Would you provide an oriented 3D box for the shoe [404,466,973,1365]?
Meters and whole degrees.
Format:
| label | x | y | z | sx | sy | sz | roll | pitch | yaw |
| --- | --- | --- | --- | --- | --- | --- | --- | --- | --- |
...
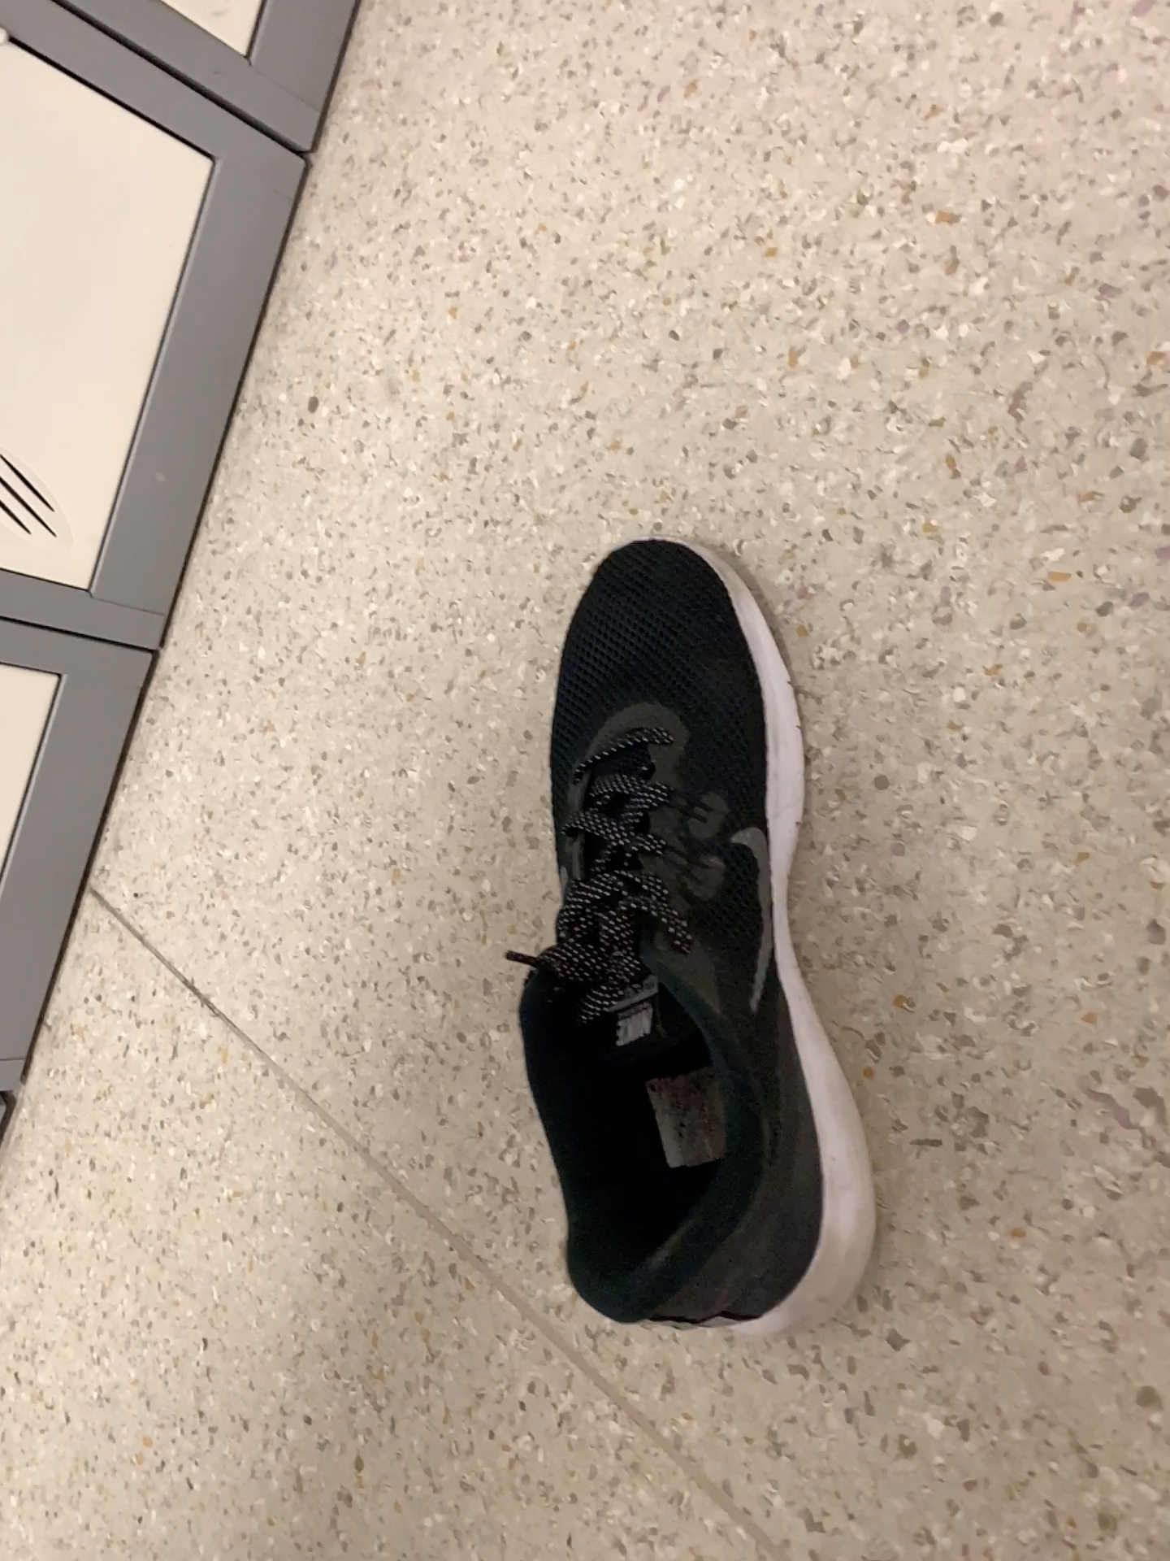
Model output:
| label | x | y | z | sx | sy | sz | roll | pitch | yaw |
| --- | --- | --- | --- | --- | --- | --- | --- | --- | --- |
| shoe | 0.025 | 0.045 | 0.399 | 0.114 | 0.093 | 0.253 | -23 | 66 | 35 |
